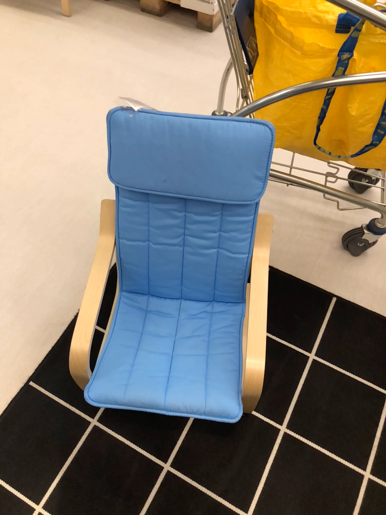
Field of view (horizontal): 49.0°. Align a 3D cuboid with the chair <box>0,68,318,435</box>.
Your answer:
[{"bbox_3d":[-0.029,0.072,1.157,0.490,0.876,0.563,6,57,3],"label":"chair"}]
